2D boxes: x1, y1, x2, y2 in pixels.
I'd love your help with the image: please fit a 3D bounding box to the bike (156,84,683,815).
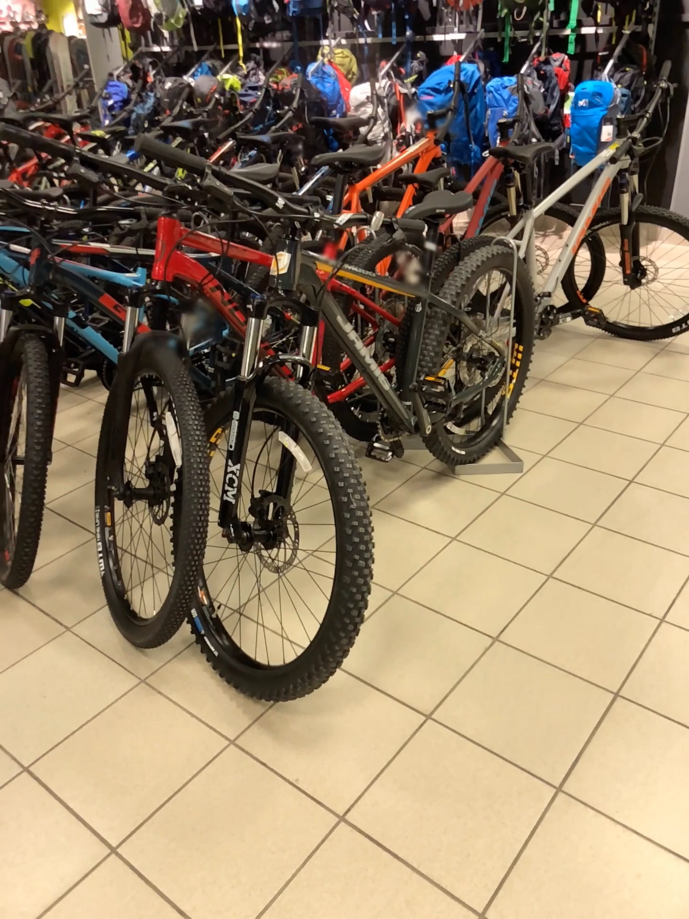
[{"bbox_3d":[0.336,-0.281,2.039,0.808,1.166,1.549,11,33,25],"label":"bike"}]
